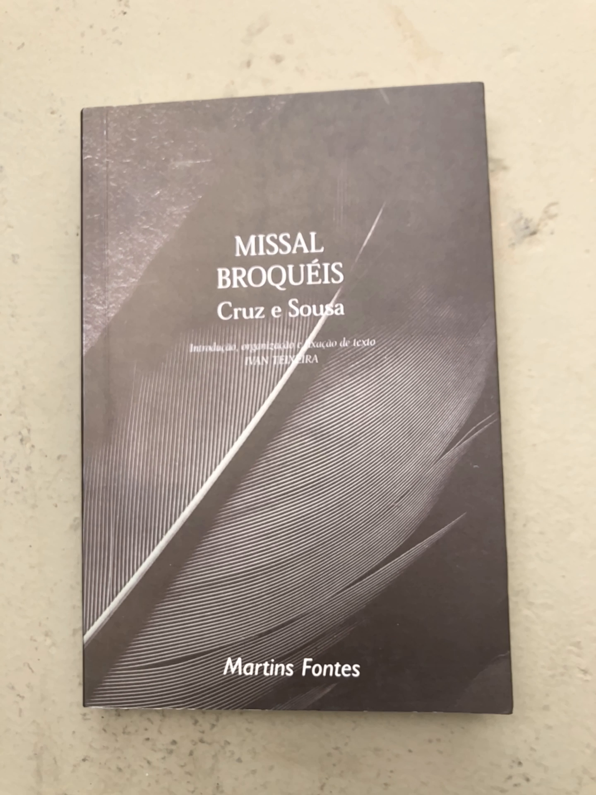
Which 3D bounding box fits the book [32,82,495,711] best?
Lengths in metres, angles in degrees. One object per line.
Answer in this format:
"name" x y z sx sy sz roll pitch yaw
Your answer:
"book" -0.012 -0.001 0.198 0.128 0.016 0.173 -2 86 5
